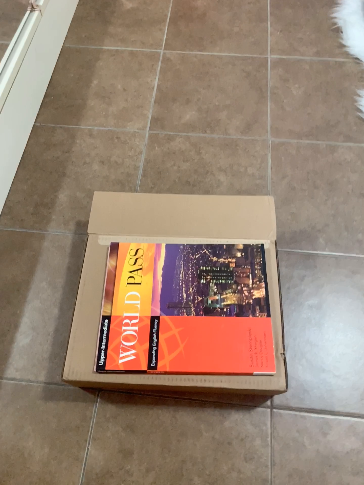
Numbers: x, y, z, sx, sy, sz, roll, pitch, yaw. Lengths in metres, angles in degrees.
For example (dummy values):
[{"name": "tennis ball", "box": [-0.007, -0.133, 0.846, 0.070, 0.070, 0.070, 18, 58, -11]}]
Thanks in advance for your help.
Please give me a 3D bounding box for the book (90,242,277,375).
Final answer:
[{"name": "book", "box": [0.004, 0.098, 0.592, 0.270, 0.018, 0.211, 0, 64, 2]}]
